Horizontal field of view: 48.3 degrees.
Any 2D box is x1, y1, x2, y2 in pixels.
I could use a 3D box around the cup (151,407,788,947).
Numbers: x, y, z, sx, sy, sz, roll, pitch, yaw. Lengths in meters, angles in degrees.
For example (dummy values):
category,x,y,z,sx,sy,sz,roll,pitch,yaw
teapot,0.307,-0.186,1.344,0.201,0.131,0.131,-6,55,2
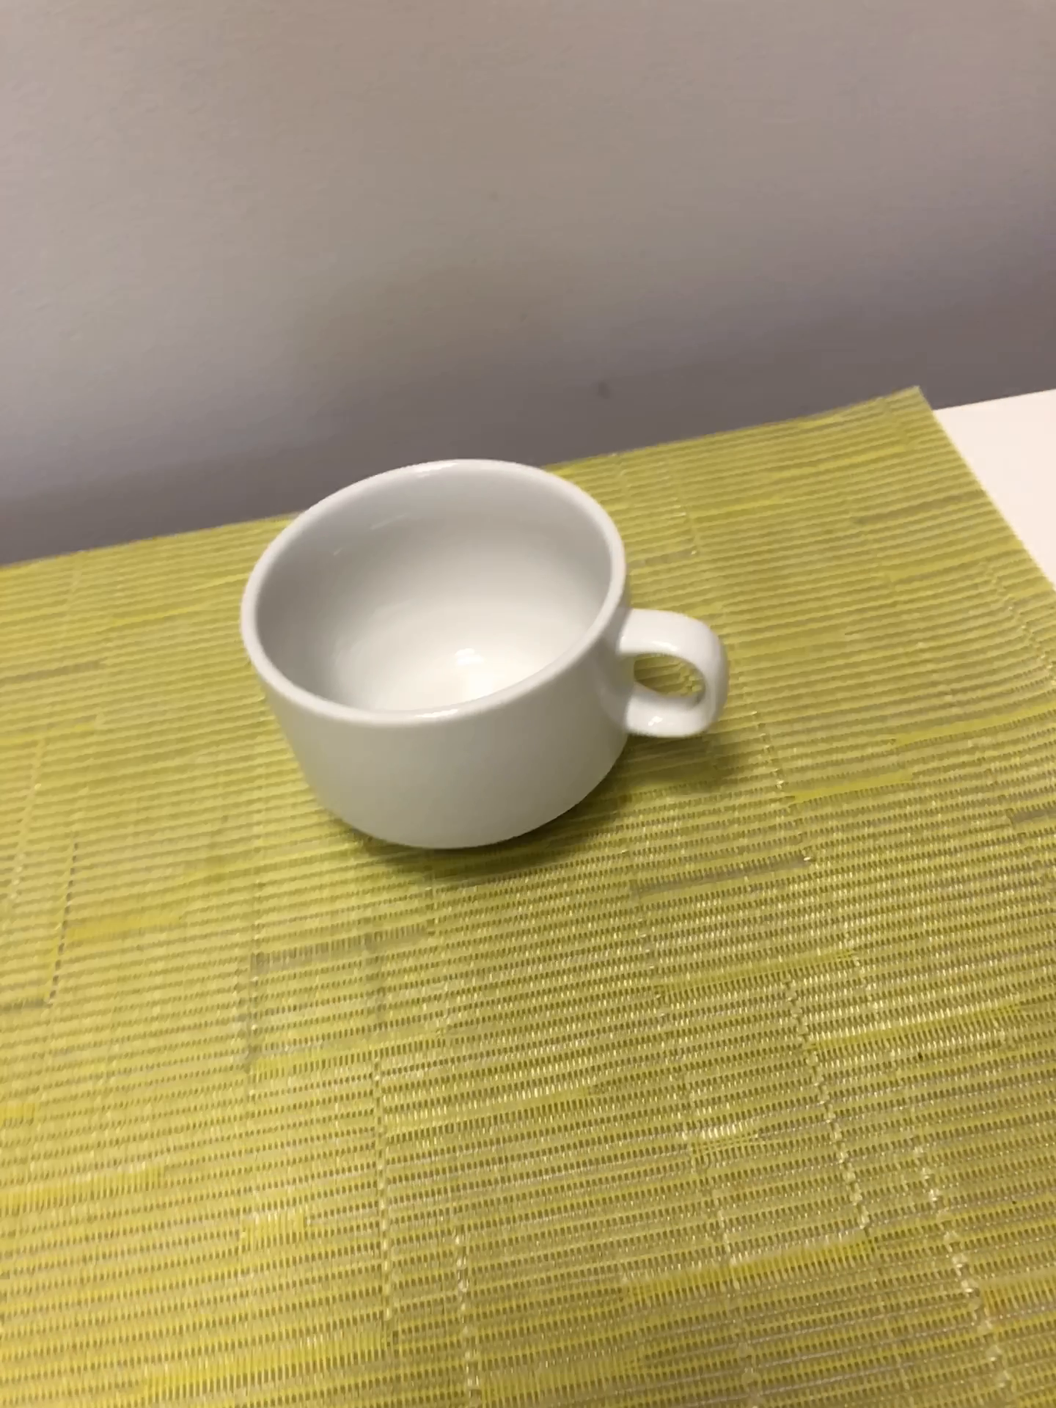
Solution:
category,x,y,z,sx,sy,sz,roll,pitch,yaw
cup,-0.008,-0.012,0.273,0.110,0.057,0.086,16,52,24
